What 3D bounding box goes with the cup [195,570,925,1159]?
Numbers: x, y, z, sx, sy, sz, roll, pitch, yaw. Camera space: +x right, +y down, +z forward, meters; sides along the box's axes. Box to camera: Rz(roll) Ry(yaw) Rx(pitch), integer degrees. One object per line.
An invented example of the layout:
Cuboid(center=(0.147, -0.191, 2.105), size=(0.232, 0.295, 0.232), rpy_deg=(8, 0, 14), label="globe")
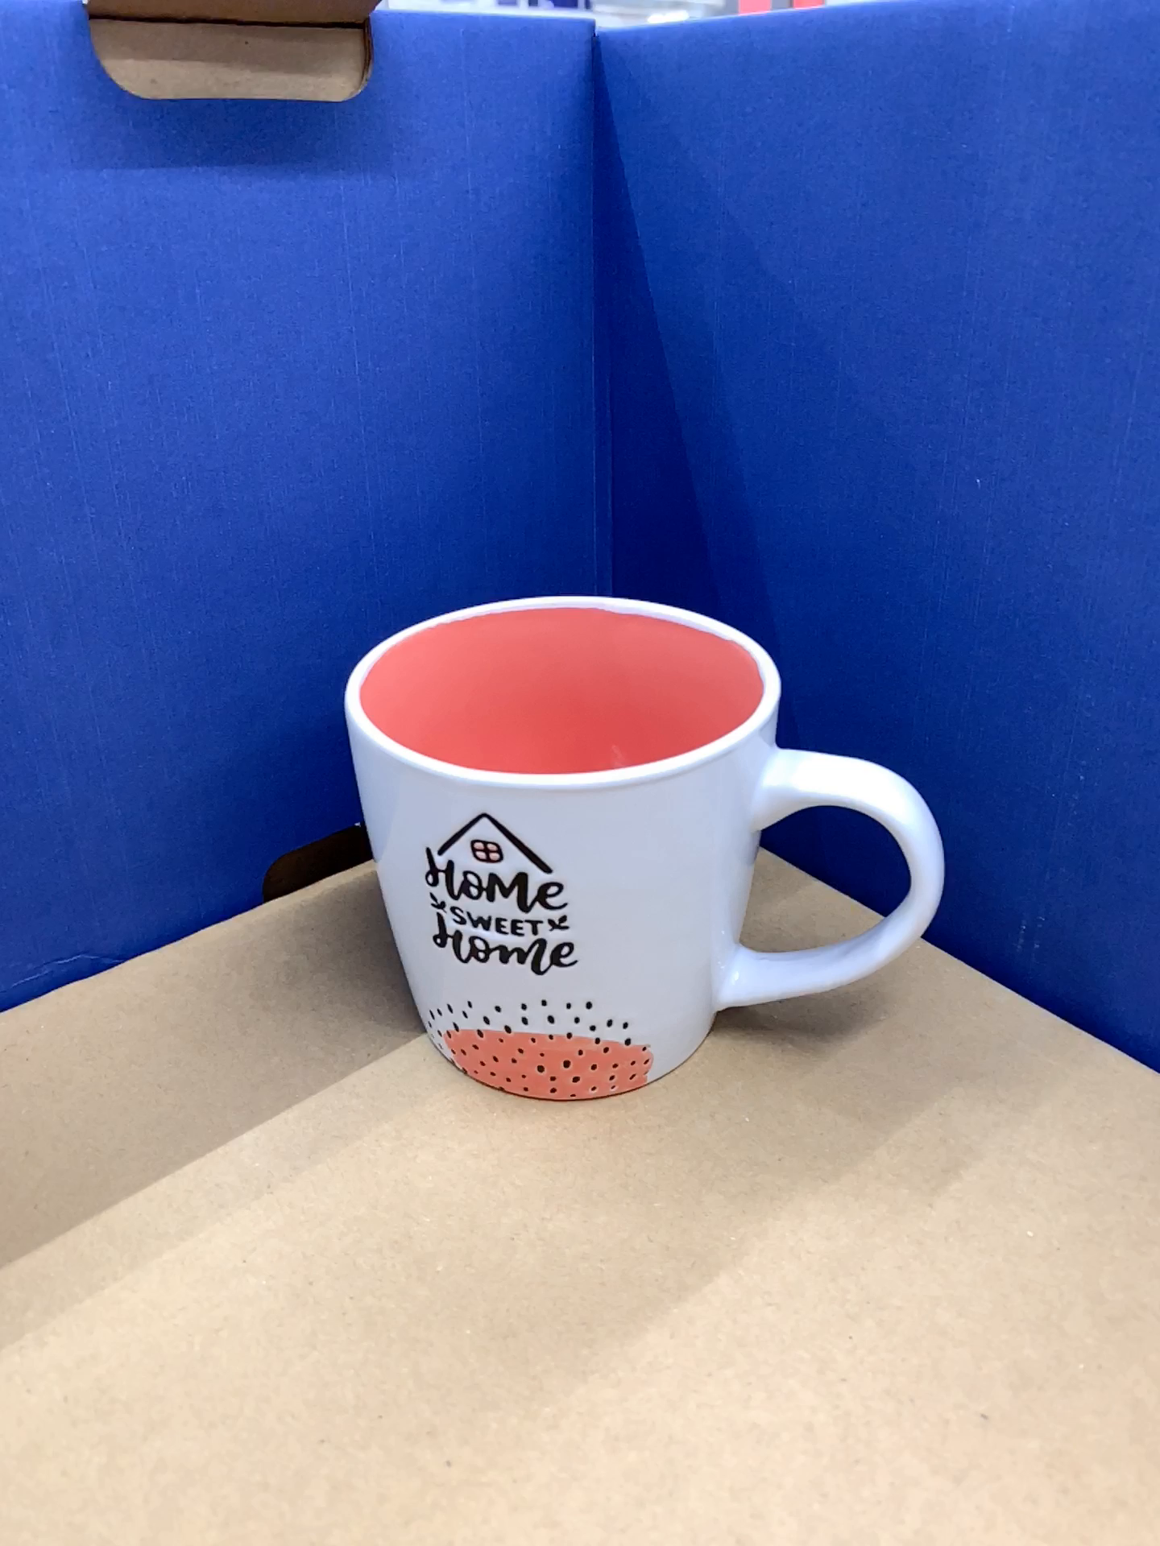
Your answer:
Cuboid(center=(0.003, 0.010, 0.235), size=(0.115, 0.070, 0.083), rpy_deg=(5, 28, 12), label="cup")
